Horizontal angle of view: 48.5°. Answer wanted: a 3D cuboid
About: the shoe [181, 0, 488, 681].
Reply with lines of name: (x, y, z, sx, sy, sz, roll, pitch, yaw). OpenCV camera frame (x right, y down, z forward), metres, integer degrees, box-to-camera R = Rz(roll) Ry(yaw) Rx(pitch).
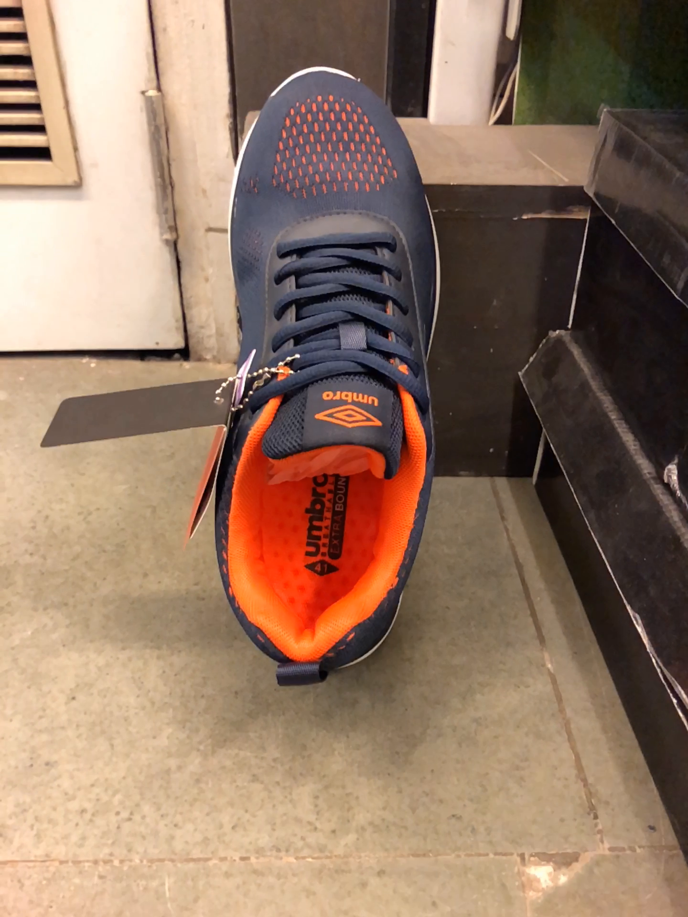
shoe: (-0.010, -0.055, 0.334, 0.092, 0.259, 0.133, 3, 3, -6)
